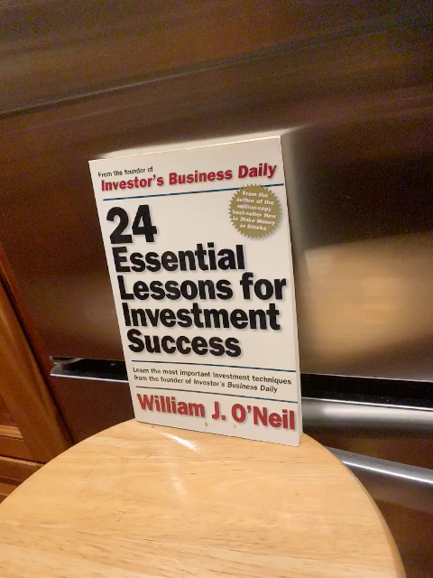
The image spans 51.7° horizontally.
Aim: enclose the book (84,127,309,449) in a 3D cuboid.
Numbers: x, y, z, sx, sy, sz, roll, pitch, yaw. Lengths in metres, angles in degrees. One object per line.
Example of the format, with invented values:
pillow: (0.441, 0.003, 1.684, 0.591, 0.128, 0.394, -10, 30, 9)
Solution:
book: (-0.013, 0.005, 0.350, 0.150, 0.229, 0.030, 0, 17, 25)
